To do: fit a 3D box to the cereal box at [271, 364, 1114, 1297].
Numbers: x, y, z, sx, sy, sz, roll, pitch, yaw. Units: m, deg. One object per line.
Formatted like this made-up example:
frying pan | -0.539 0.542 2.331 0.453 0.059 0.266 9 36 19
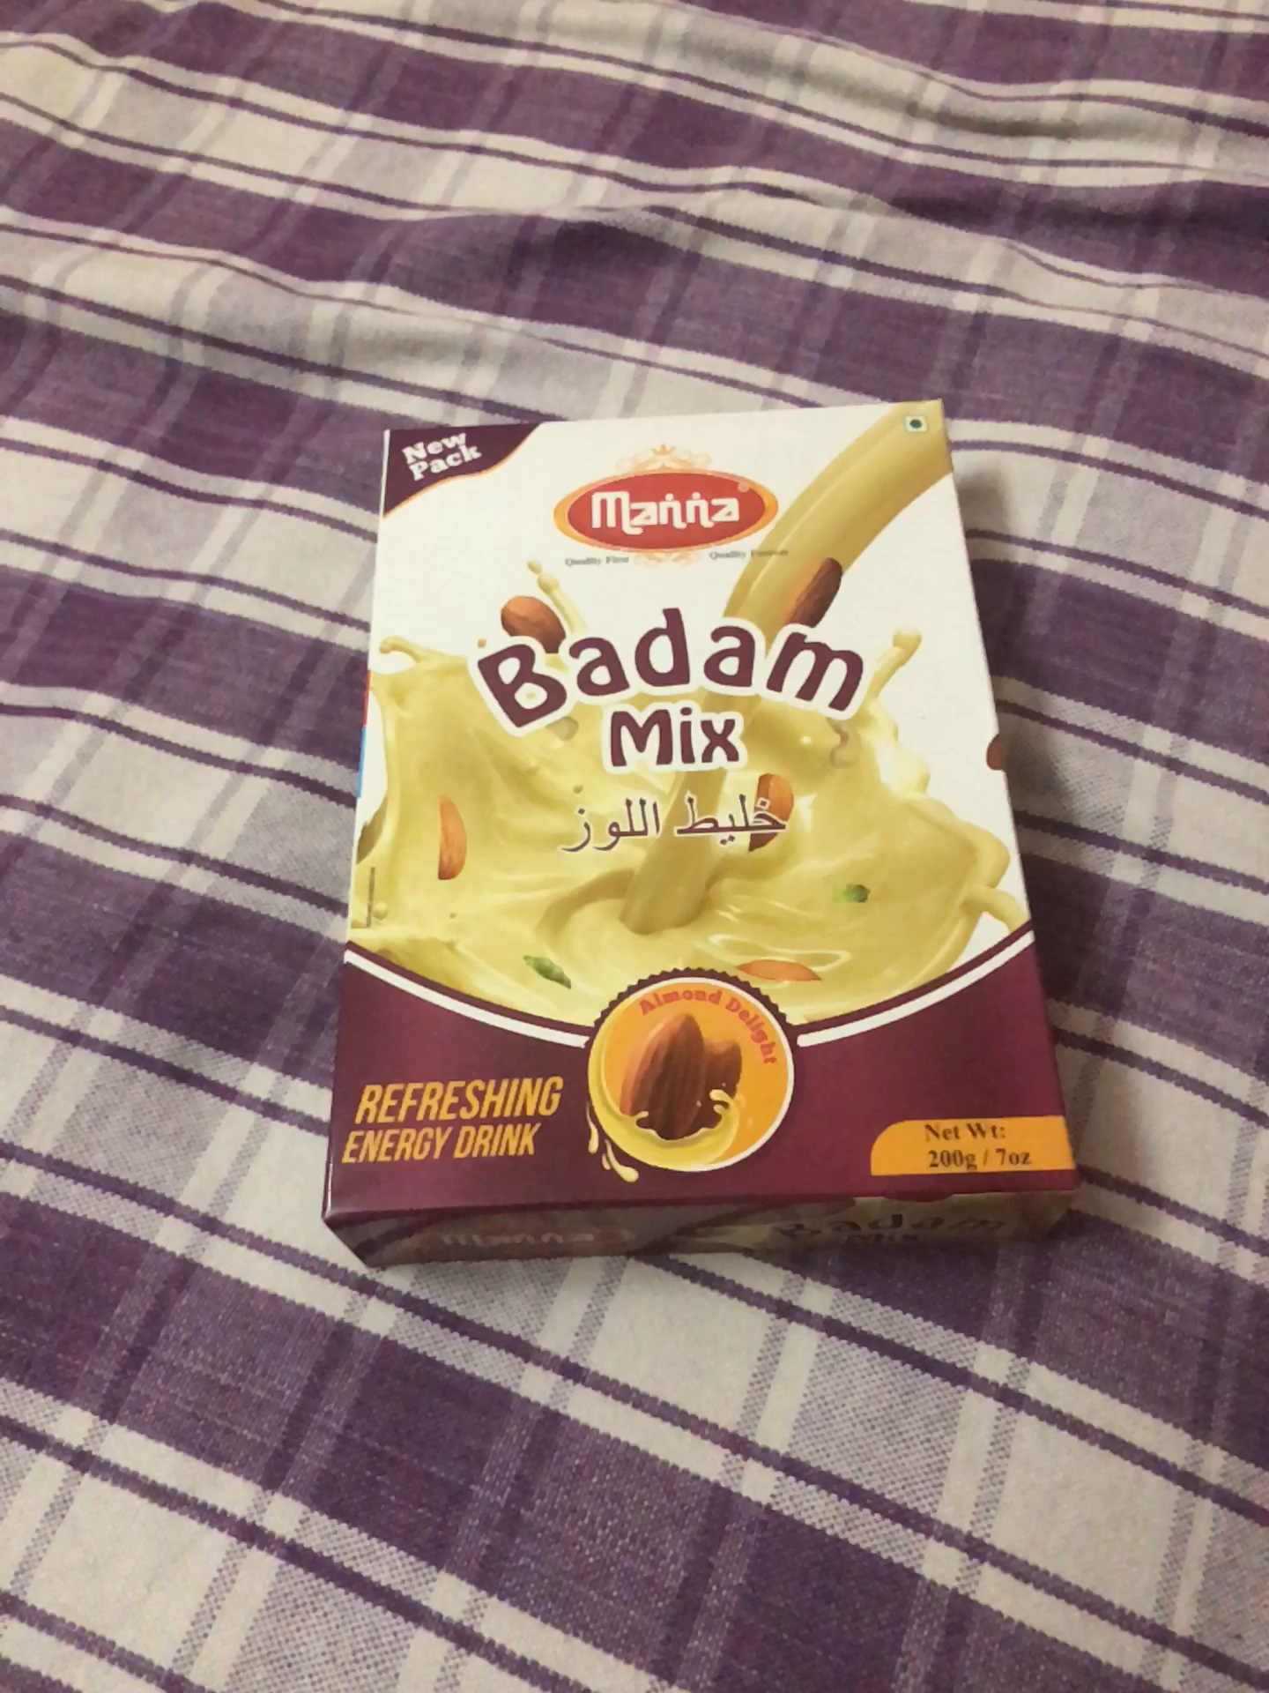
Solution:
cereal box | 0.006 -0.010 0.283 0.130 0.050 0.181 -3 61 0
